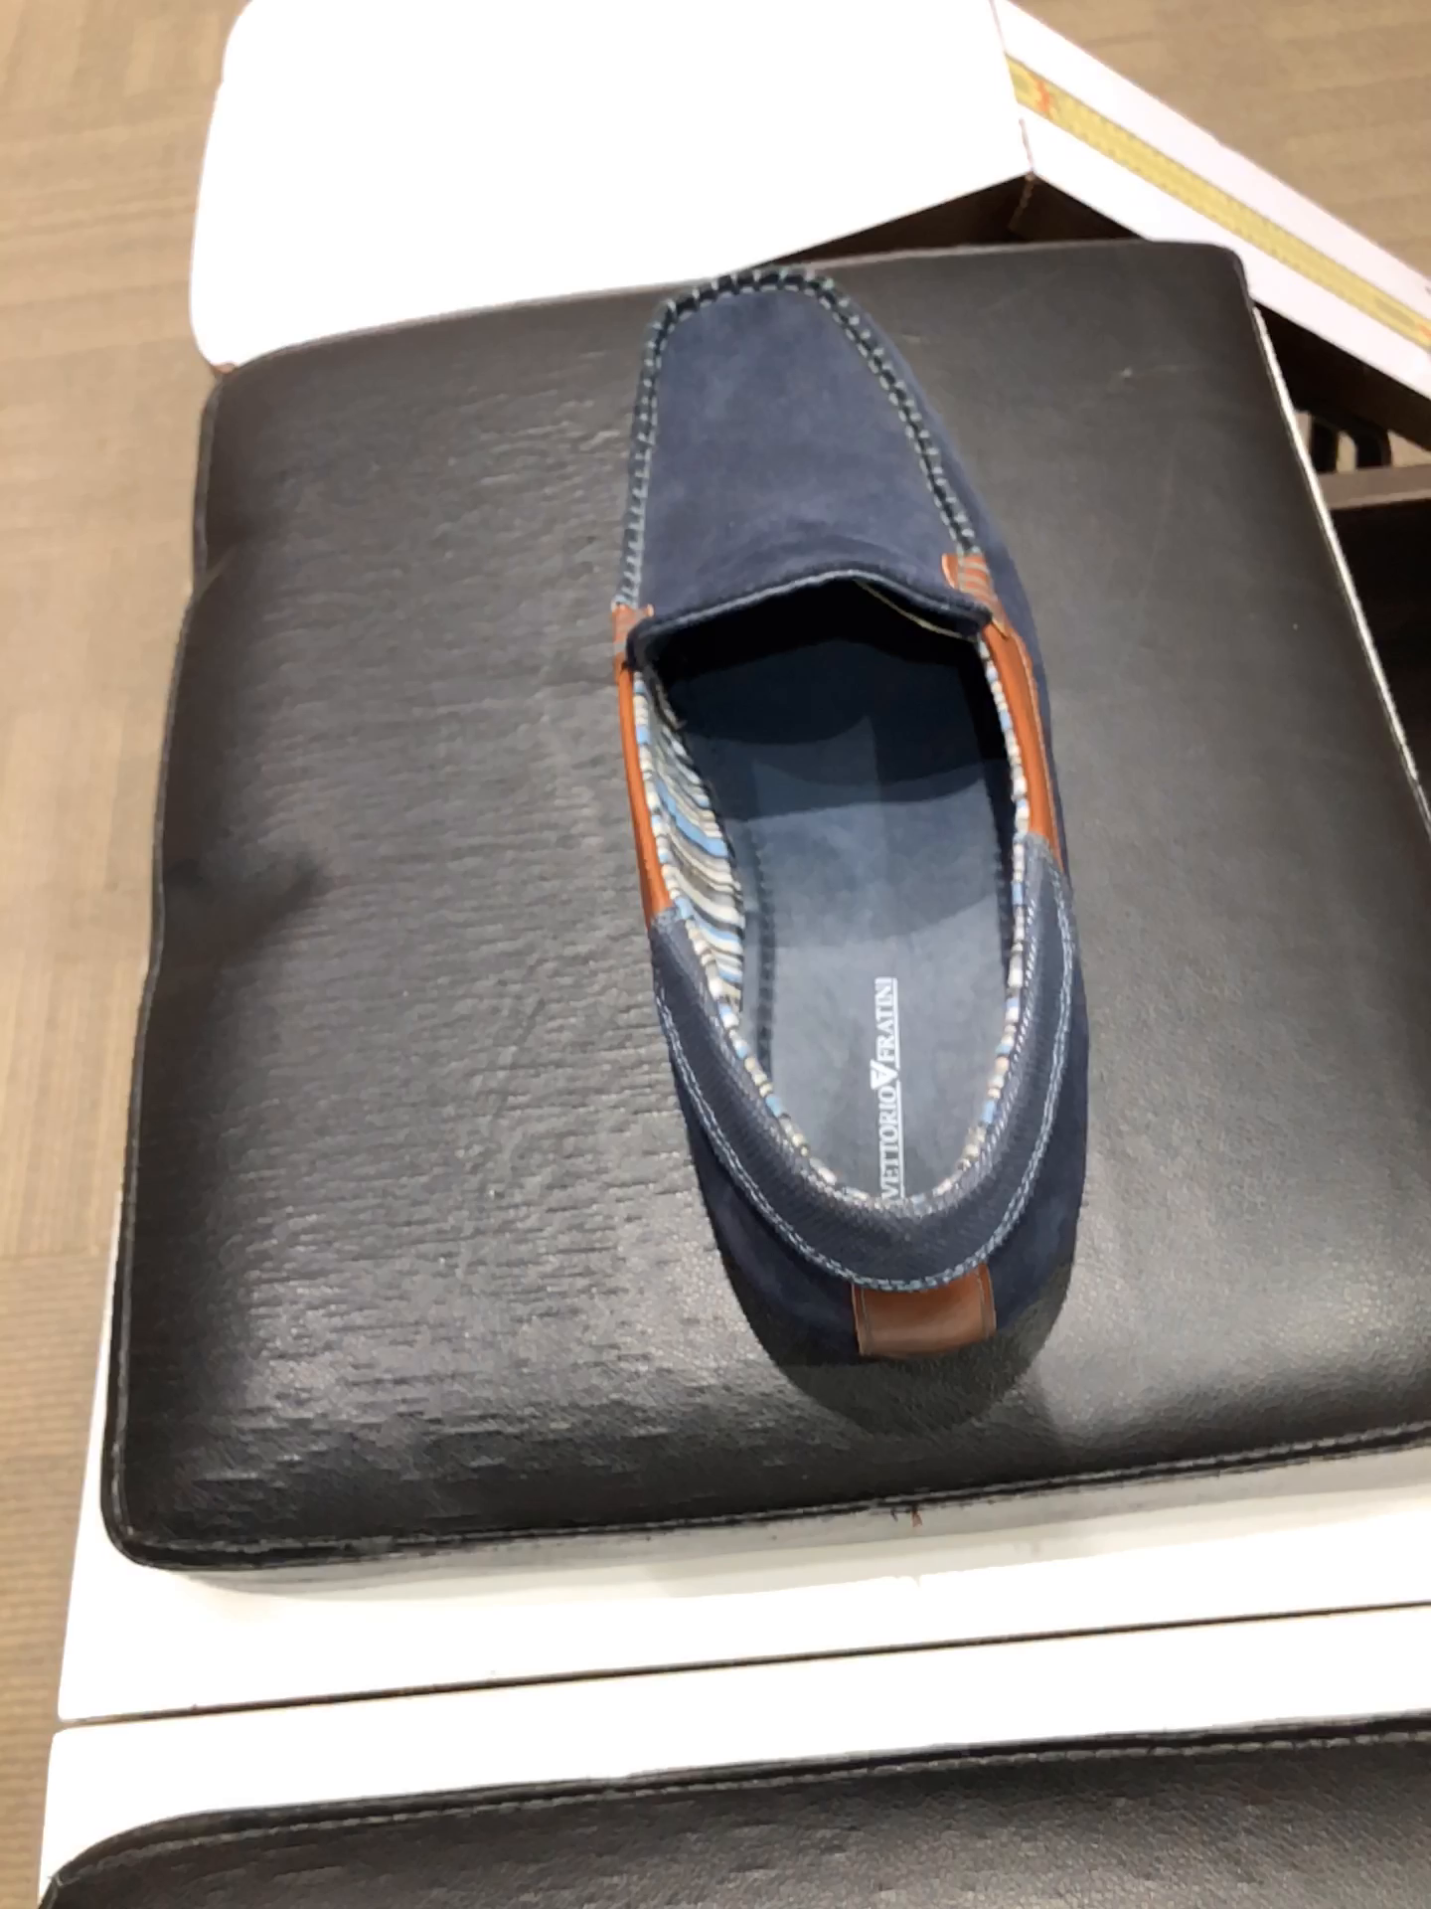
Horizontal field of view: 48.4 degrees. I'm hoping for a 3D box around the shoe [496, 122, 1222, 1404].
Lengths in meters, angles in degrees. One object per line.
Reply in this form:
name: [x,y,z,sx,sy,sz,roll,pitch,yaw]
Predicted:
shoe: [0.020,-0.056,0.388,0.110,0.100,0.292,-9,62,2]
